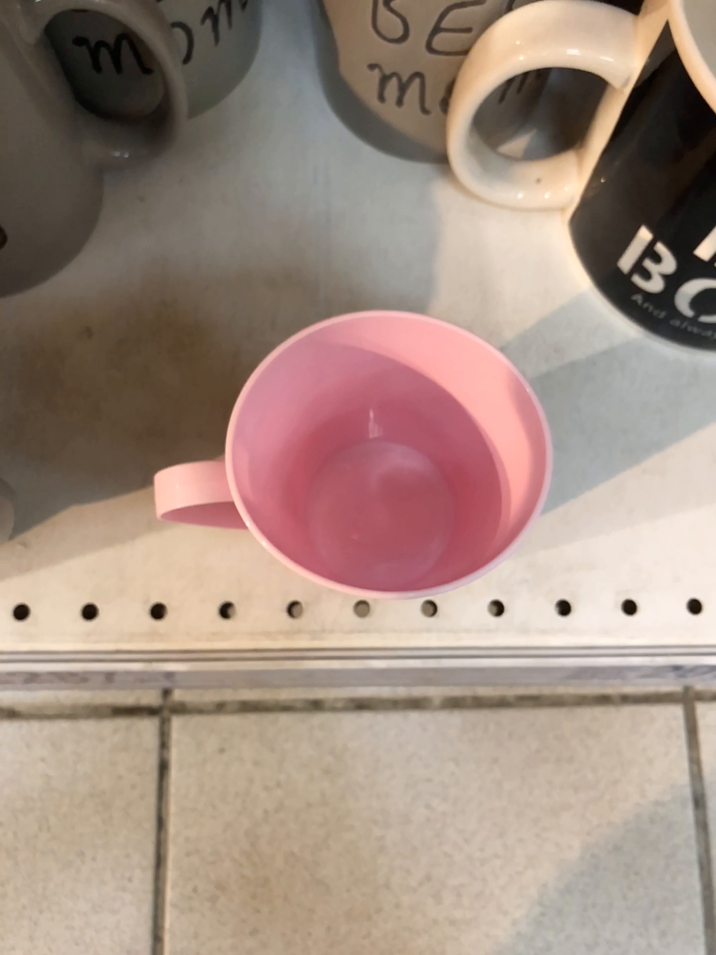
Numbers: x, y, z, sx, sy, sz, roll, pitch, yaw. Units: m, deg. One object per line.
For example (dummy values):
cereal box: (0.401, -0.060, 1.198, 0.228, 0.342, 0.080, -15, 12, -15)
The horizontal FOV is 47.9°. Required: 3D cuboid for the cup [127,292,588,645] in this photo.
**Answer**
cup: (-0.003, 0.006, 0.258, 0.108, 0.105, 0.078, -8, 78, -3)
